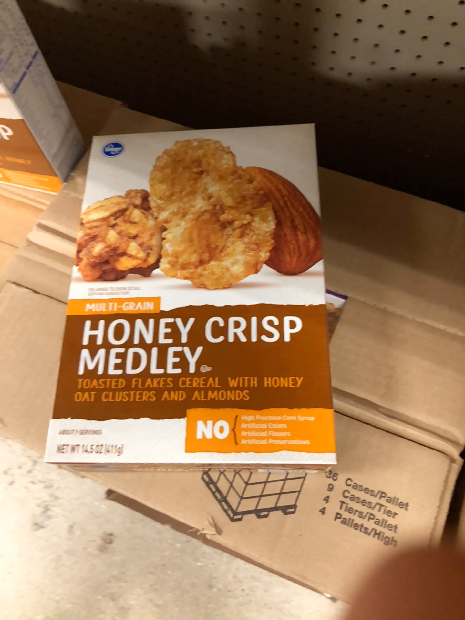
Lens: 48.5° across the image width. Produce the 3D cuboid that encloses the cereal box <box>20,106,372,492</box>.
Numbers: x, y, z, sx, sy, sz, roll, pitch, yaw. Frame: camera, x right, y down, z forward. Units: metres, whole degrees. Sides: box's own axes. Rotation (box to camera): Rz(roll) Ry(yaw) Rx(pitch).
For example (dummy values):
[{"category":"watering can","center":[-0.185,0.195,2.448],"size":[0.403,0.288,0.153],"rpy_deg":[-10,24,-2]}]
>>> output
[{"category":"cereal box","center":[-0.020,-0.014,0.370],"size":[0.200,0.060,0.270],"rpy_deg":[-2,67,4]}]
